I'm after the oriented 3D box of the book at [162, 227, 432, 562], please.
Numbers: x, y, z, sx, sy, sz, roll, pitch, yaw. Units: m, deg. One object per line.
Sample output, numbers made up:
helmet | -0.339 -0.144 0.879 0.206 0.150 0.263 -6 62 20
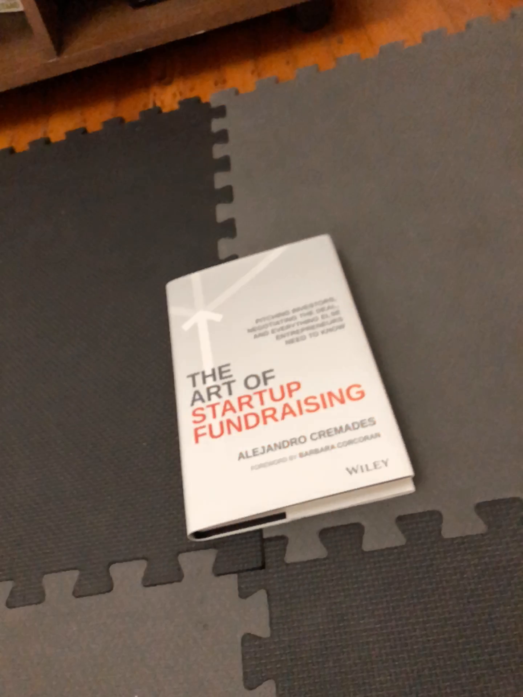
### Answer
book | 0.011 0.020 0.462 0.170 0.030 0.251 -14 53 6
